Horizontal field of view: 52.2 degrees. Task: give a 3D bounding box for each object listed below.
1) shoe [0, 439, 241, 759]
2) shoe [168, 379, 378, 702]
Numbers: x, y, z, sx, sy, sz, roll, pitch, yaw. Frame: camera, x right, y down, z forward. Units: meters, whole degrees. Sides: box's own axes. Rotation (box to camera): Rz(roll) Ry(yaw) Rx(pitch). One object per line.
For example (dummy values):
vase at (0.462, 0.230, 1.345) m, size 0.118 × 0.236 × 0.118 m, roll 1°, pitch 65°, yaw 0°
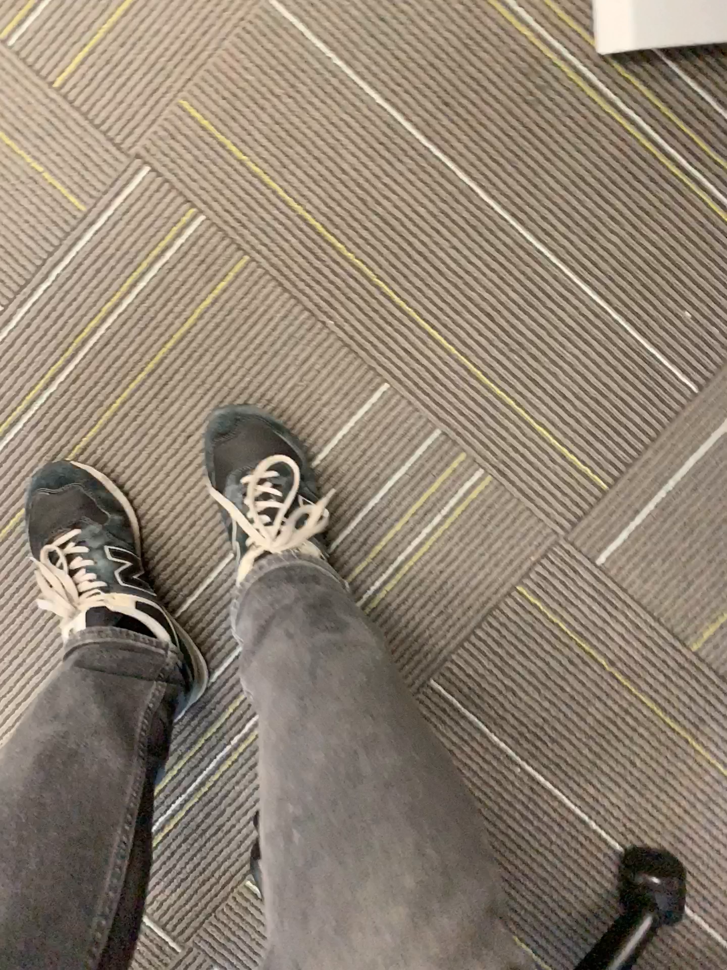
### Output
shoe at (-0.257, 0.111, 0.766) m, size 0.121 × 0.071 × 0.295 m, roll -28°, pitch 92°, yaw 2°
shoe at (-0.087, 0.054, 0.759) m, size 0.119 × 0.071 × 0.294 m, roll -18°, pitch 92°, yaw 2°
